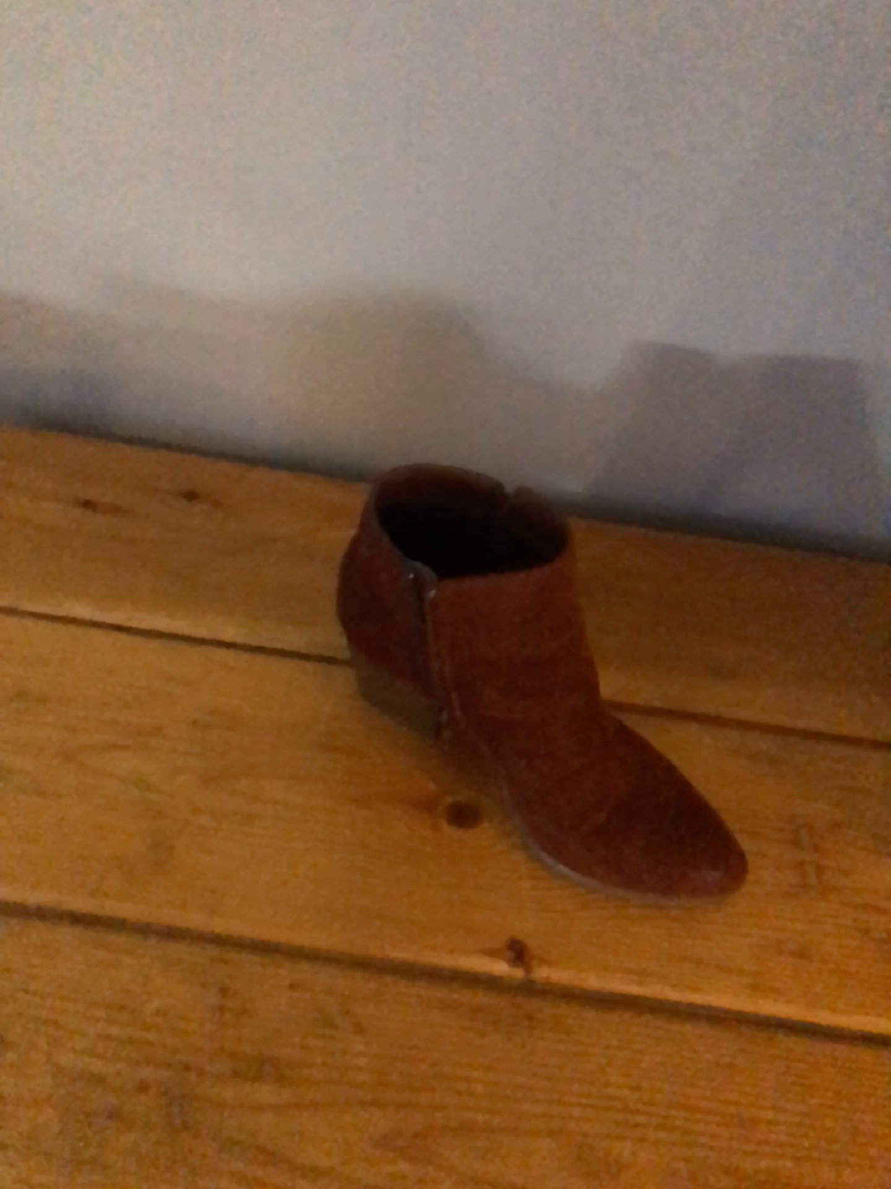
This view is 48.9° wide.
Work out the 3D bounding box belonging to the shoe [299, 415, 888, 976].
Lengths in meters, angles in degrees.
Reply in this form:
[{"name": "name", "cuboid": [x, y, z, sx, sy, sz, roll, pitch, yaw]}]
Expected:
[{"name": "shoe", "cuboid": [0.052, 0.049, 0.485, 0.250, 0.150, 0.090, 34, 56, 18]}]
